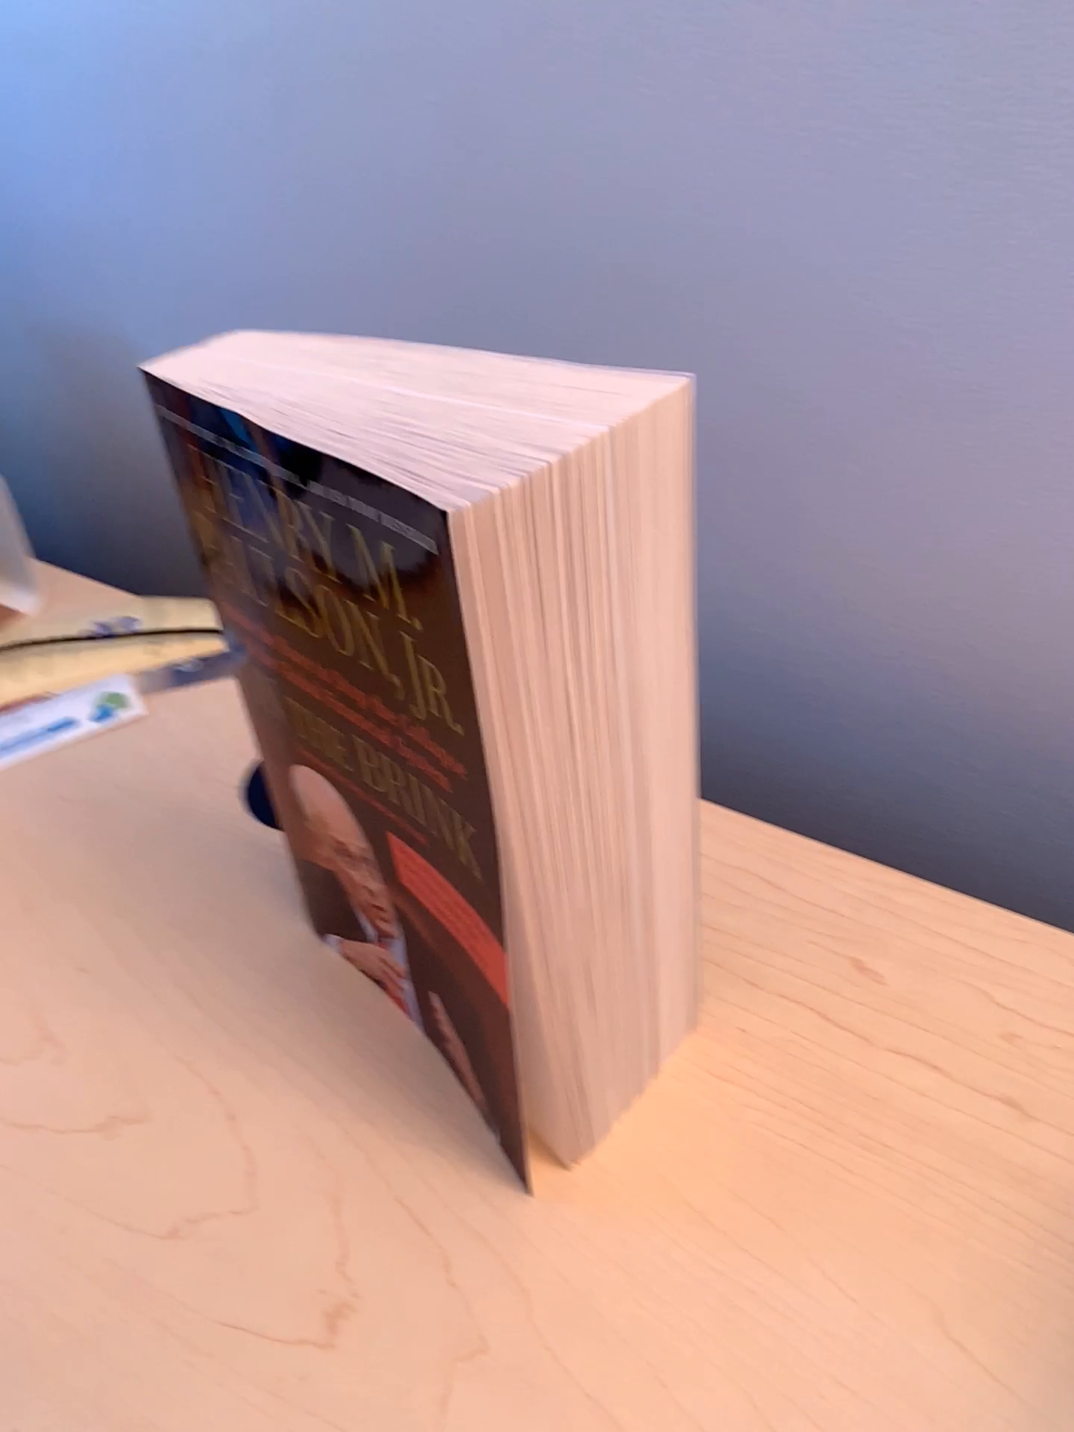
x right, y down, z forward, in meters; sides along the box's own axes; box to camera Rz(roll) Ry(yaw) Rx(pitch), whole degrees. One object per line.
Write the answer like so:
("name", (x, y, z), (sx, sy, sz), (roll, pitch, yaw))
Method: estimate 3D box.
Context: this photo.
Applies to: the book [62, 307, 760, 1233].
("book", (-0.029, 0.011, 0.336), (0.168, 0.228, 0.082), (23, 43, 37))
